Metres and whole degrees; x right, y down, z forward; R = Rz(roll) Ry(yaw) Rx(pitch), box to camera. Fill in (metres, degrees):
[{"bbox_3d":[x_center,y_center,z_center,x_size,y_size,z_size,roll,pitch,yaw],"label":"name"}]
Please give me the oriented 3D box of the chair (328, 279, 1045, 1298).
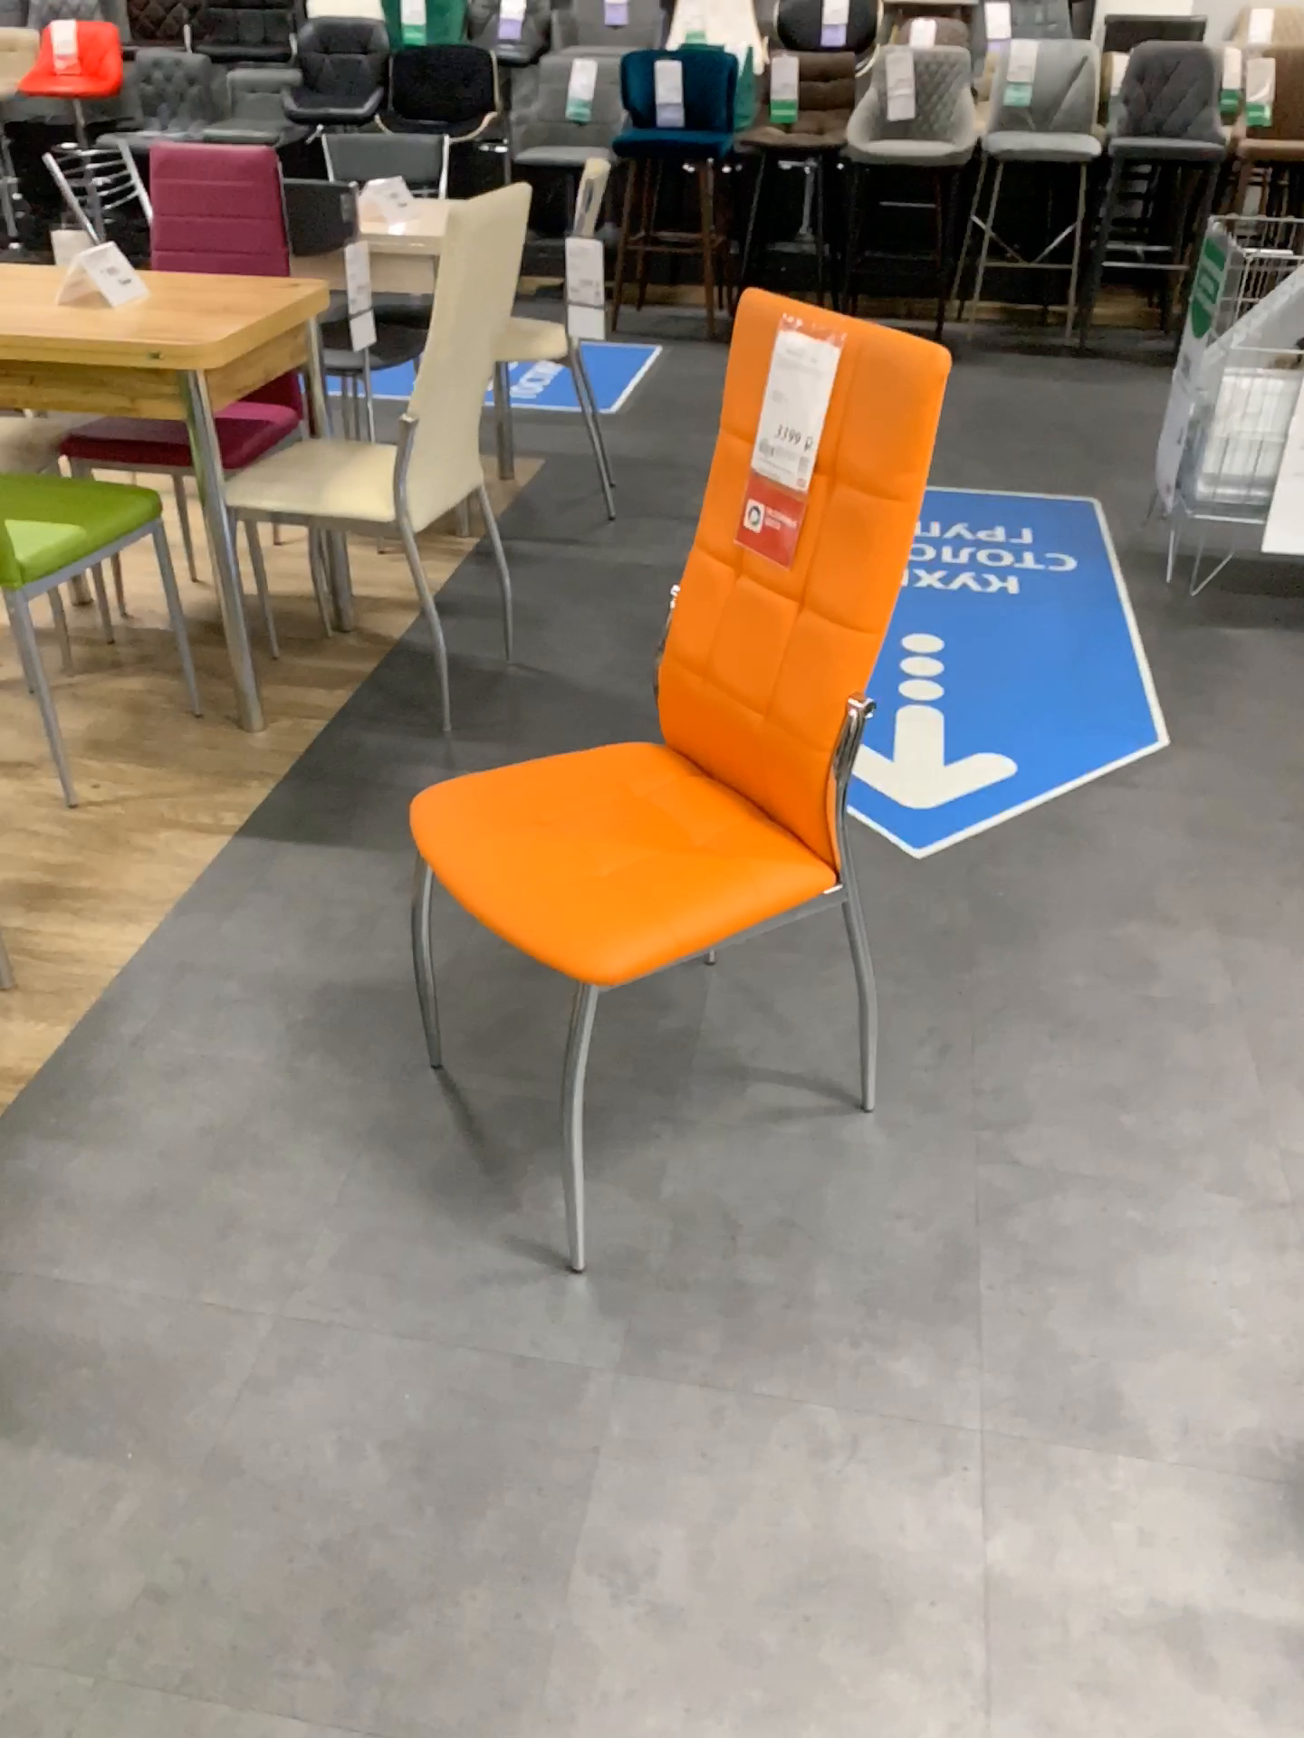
[{"bbox_3d":[0.011,-0.104,1.618,0.541,1.014,0.492,-18,38,-26],"label":"chair"}]
